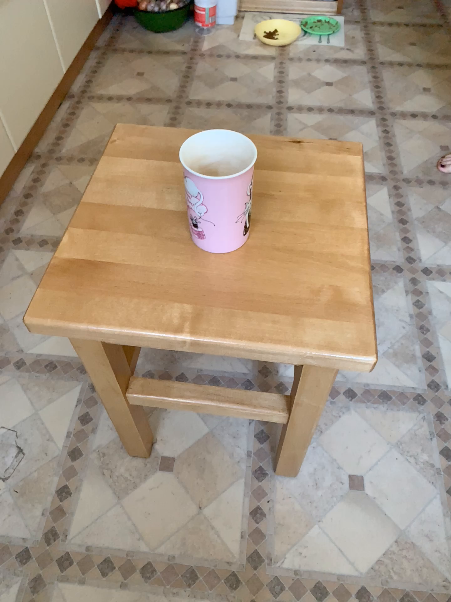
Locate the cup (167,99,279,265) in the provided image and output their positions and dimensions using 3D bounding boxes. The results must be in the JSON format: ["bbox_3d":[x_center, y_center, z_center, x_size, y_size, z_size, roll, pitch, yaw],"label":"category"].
[{"bbox_3d":[-0.005,-0.122,0.475,0.074,0.107,0.114,-14,54,-10],"label":"cup"}]
